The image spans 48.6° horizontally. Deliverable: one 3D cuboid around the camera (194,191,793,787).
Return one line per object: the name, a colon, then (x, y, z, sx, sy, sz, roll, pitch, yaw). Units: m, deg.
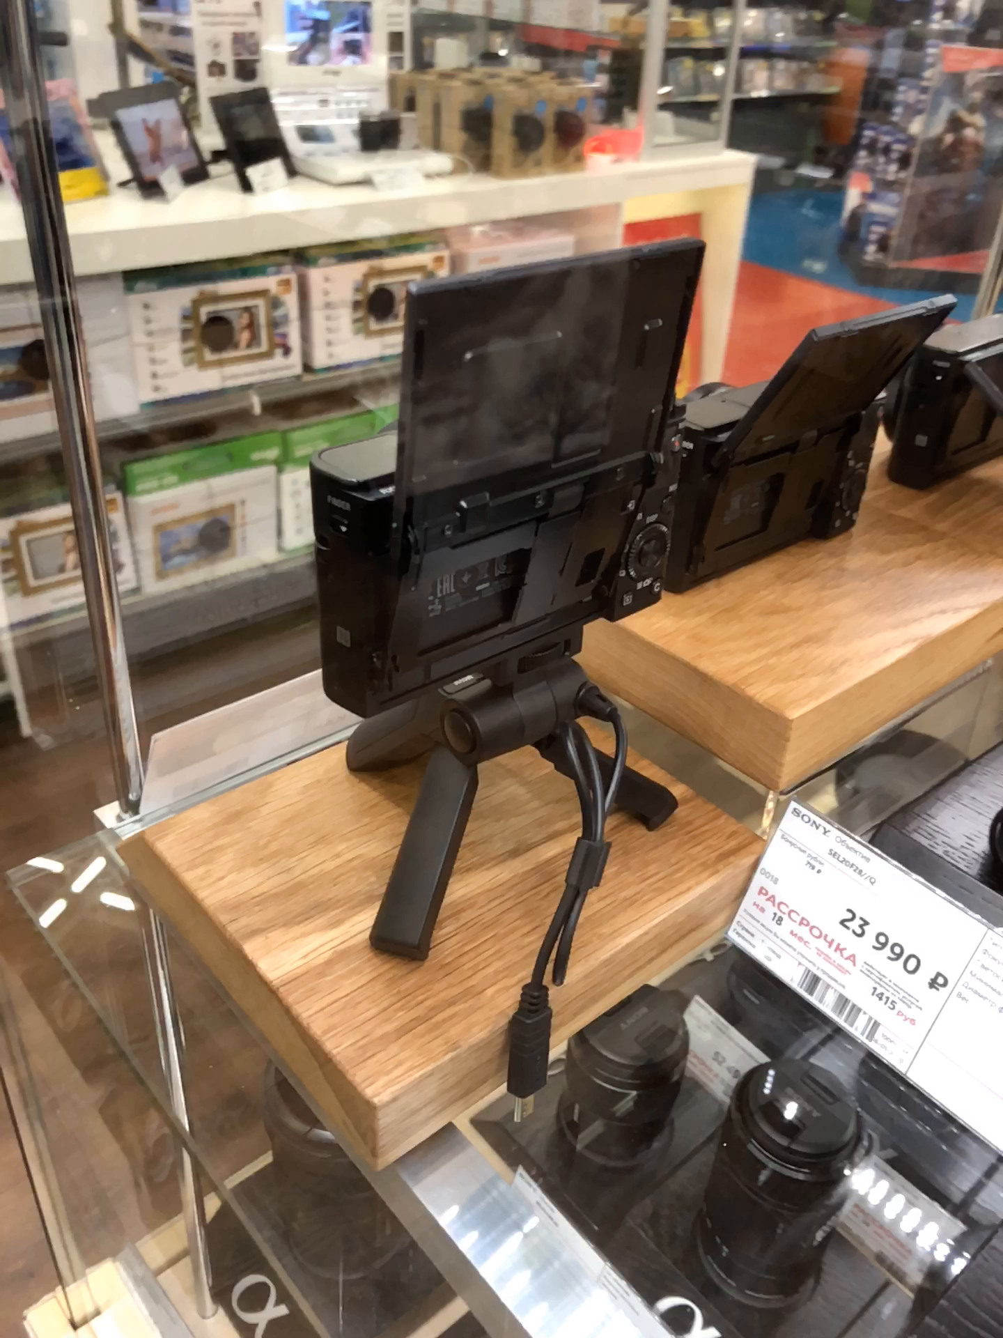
camera: (-0.001, -0.048, 0.255, 0.109, 0.097, 0.062, -22, 41, -34)

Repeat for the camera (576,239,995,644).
camera: (0.093, -0.082, 0.376, 0.109, 0.097, 0.070, -22, 41, -34)
